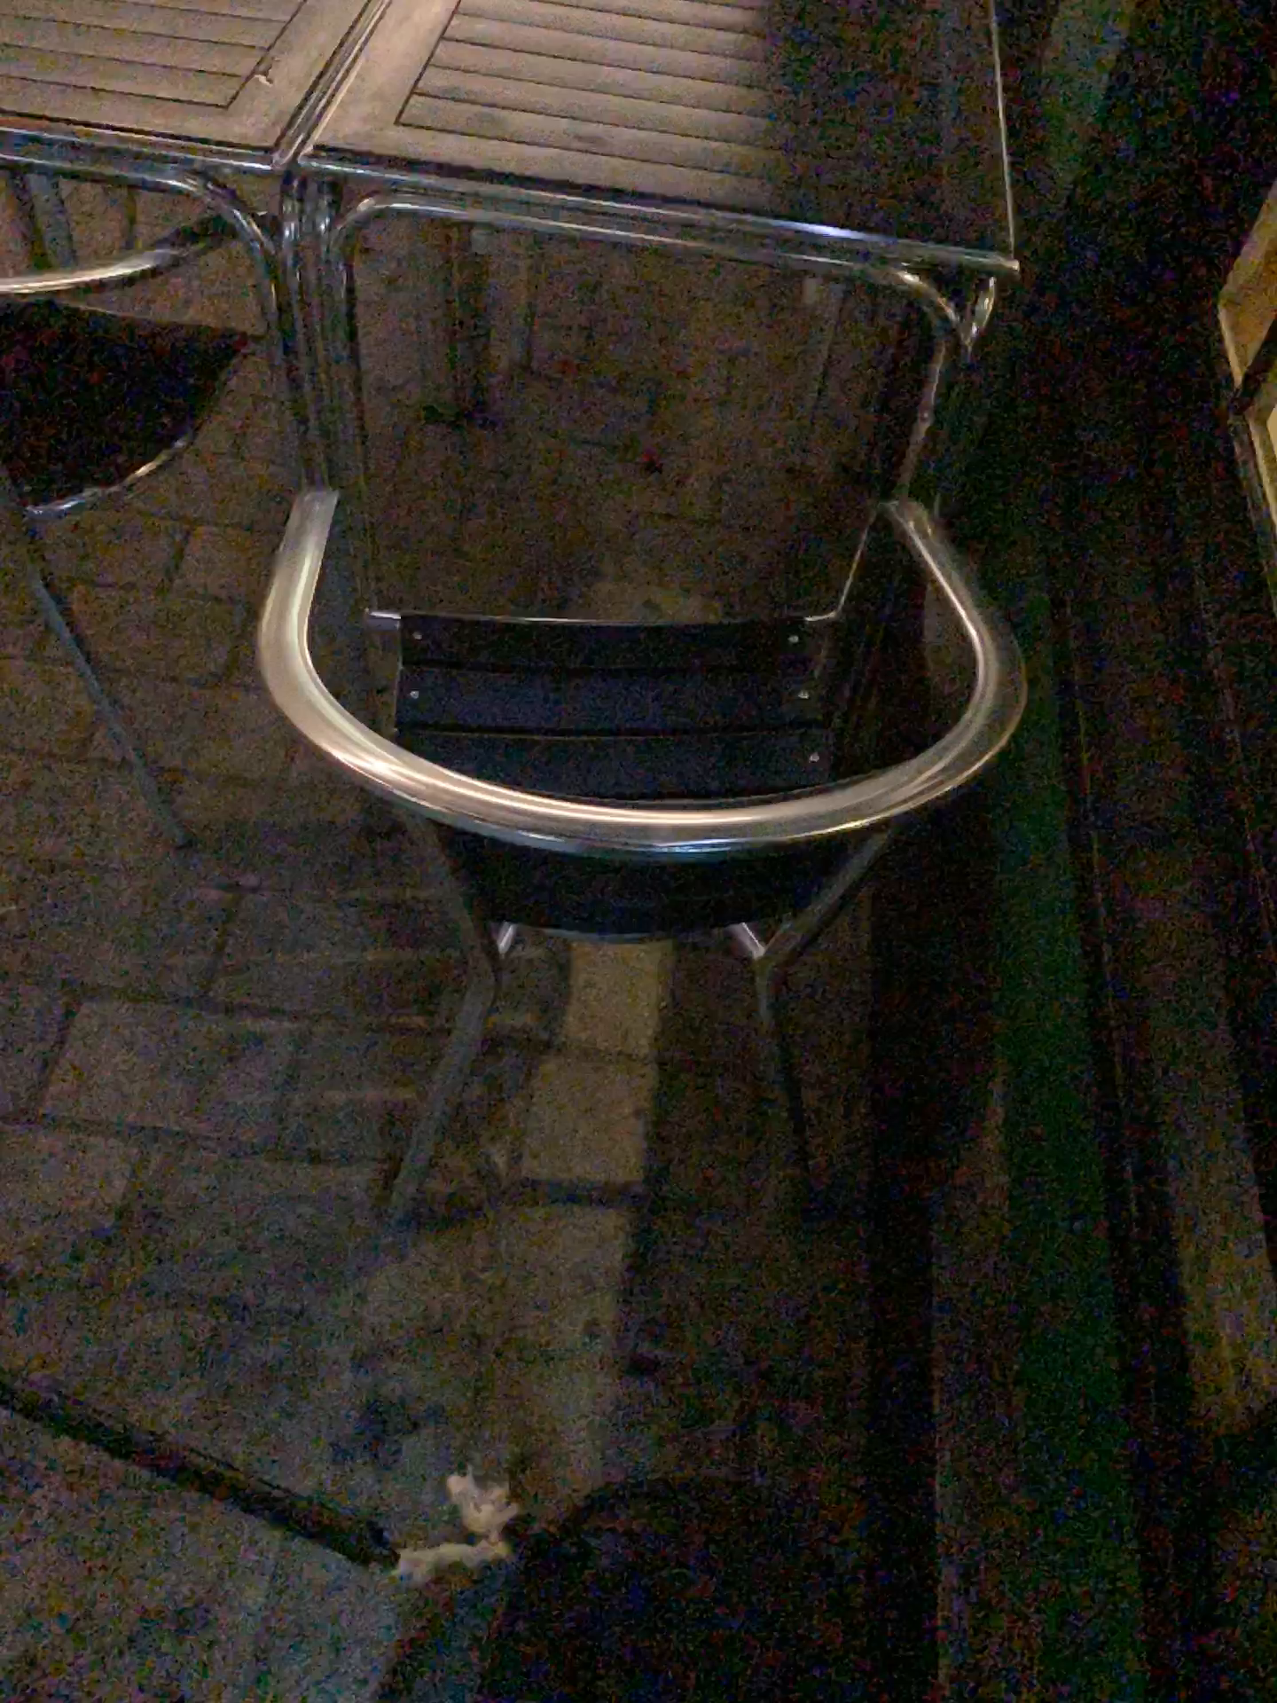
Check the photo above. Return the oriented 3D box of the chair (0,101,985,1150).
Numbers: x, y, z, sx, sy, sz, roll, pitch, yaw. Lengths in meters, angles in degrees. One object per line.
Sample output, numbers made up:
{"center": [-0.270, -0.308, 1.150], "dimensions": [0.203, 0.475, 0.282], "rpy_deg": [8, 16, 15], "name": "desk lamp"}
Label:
{"center": [-0.162, -0.180, 1.320], "dimensions": [0.660, 0.783, 0.655], "rpy_deg": [-1, 53, -7], "name": "chair"}
